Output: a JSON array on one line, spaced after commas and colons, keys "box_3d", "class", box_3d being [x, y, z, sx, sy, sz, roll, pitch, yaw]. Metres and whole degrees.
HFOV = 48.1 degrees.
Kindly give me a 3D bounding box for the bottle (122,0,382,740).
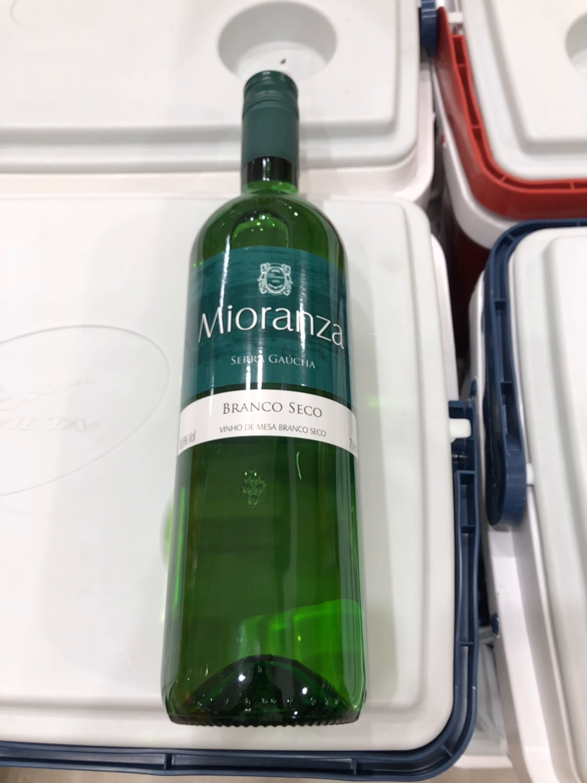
[{"box_3d": [-0.011, -0.043, 0.309, 0.080, 0.070, 0.361, -1, 65, 3], "class": "bottle"}]
